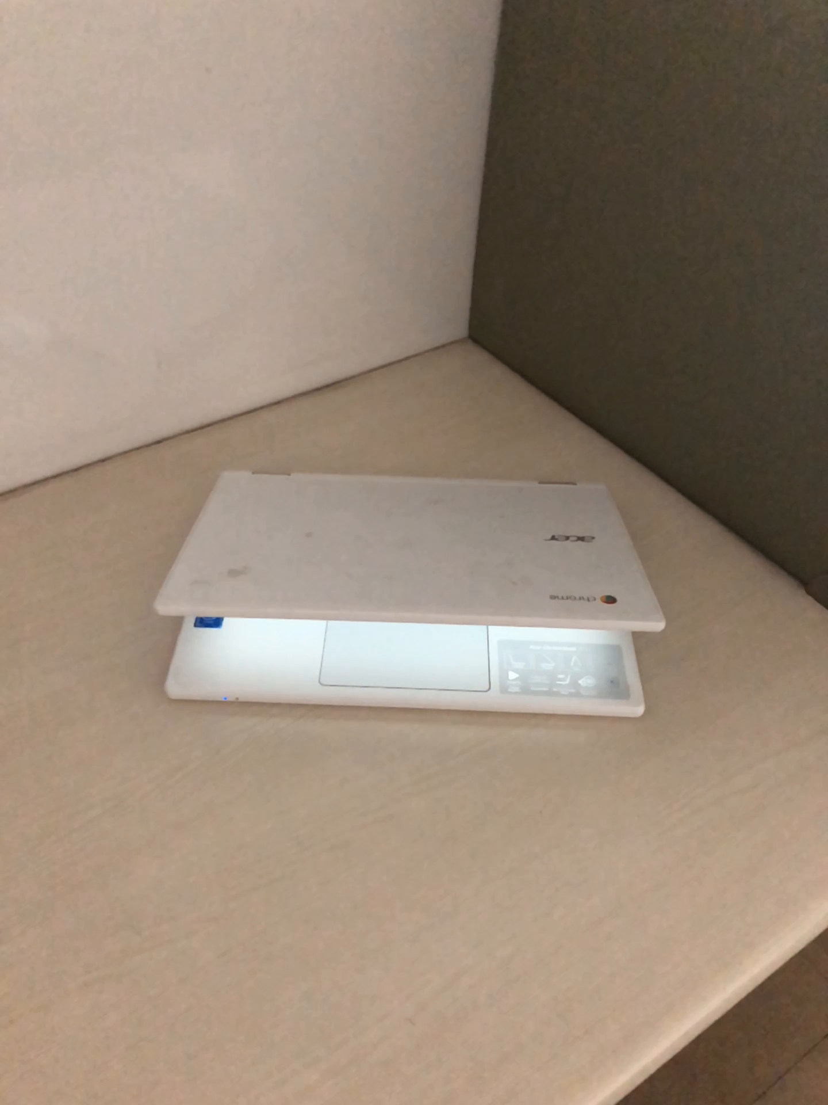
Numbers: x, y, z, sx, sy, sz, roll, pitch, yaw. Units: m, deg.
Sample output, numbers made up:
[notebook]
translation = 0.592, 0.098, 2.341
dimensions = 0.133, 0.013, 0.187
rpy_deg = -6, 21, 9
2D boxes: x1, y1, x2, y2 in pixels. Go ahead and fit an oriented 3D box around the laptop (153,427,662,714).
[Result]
[laptop]
translation = -0.002, 0.003, 0.592
dimensions = 0.282, 0.055, 0.193
rpy_deg = 2, 44, 0
